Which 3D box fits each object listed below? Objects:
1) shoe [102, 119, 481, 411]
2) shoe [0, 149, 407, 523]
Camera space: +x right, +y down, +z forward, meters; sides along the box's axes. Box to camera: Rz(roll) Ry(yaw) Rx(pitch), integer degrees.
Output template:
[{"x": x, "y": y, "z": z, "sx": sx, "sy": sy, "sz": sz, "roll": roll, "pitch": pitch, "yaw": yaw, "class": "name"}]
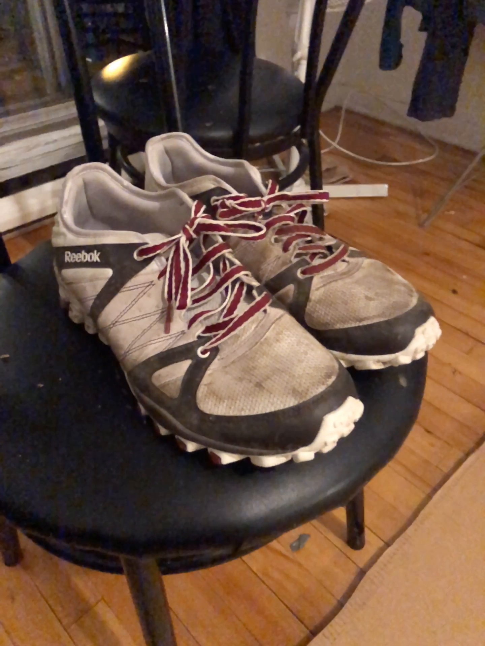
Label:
[{"x": 0.020, "y": -0.067, "z": 0.429, "sx": 0.110, "sy": 0.089, "sz": 0.281, "roll": -32, "pitch": 50, "yaw": -33, "class": "shoe"}, {"x": -0.047, "y": -0.017, "z": 0.356, "sx": 0.110, "sy": 0.089, "sz": 0.271, "roll": -32, "pitch": 50, "yaw": -33, "class": "shoe"}]
